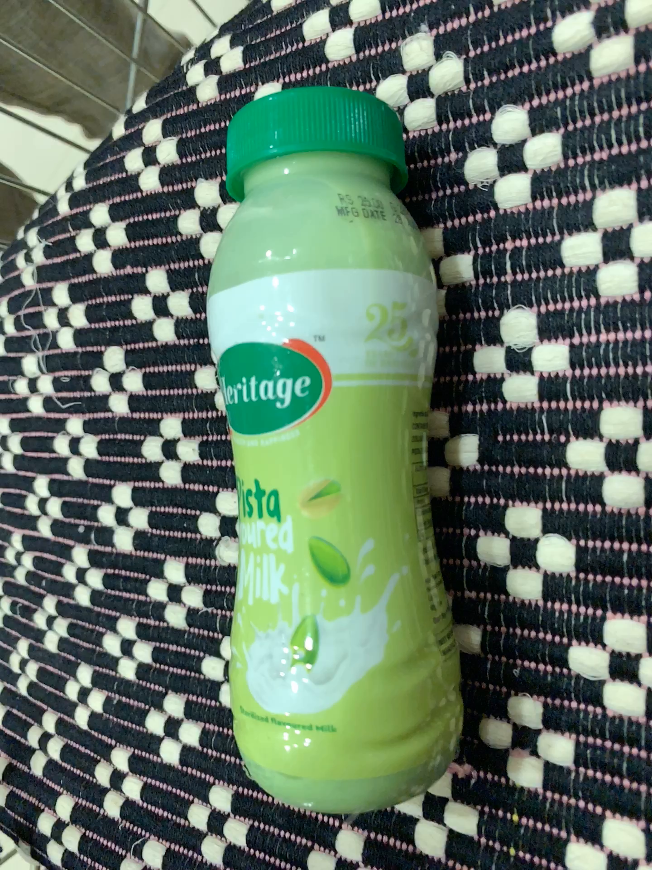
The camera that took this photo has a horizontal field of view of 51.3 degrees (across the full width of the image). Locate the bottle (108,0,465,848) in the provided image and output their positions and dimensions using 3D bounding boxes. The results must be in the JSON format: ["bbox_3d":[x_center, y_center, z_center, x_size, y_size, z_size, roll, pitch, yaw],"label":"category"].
[{"bbox_3d":[-0.007,-0.010,0.142,0.050,0.050,0.150,-4,86,33],"label":"bottle"}]
